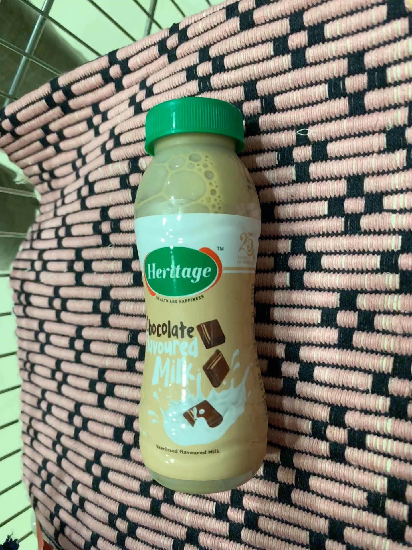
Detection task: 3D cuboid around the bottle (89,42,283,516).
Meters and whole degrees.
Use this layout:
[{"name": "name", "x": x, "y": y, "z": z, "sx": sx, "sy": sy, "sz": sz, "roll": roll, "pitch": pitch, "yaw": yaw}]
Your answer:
[{"name": "bottle", "x": -0.004, "y": 0.000, "z": 0.160, "sx": 0.050, "sy": 0.050, "sz": 0.140, "roll": 0, "pitch": 85, "yaw": 24}]
